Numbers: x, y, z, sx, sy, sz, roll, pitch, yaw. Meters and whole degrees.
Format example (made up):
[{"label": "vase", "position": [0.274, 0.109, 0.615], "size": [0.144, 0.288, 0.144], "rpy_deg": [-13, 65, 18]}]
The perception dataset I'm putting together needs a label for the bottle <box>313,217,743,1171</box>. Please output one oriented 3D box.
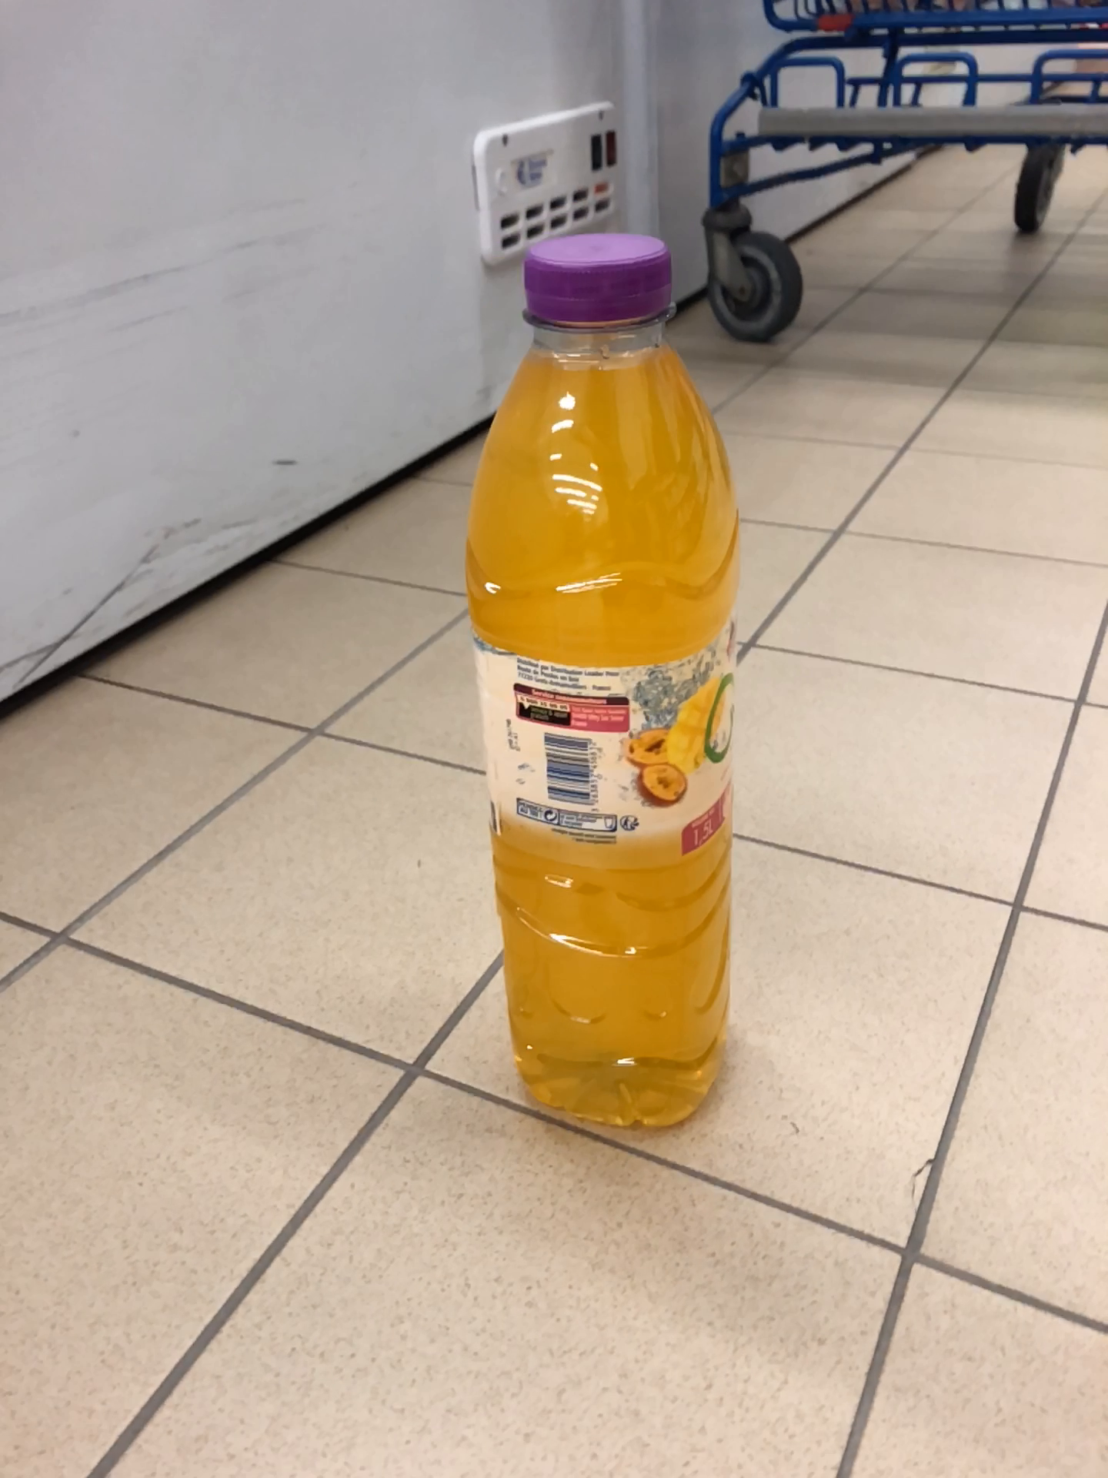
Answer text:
[{"label": "bottle", "position": [0.007, -0.006, 0.410], "size": [0.090, 0.298, 0.101], "rpy_deg": [7, 32, 17]}]
